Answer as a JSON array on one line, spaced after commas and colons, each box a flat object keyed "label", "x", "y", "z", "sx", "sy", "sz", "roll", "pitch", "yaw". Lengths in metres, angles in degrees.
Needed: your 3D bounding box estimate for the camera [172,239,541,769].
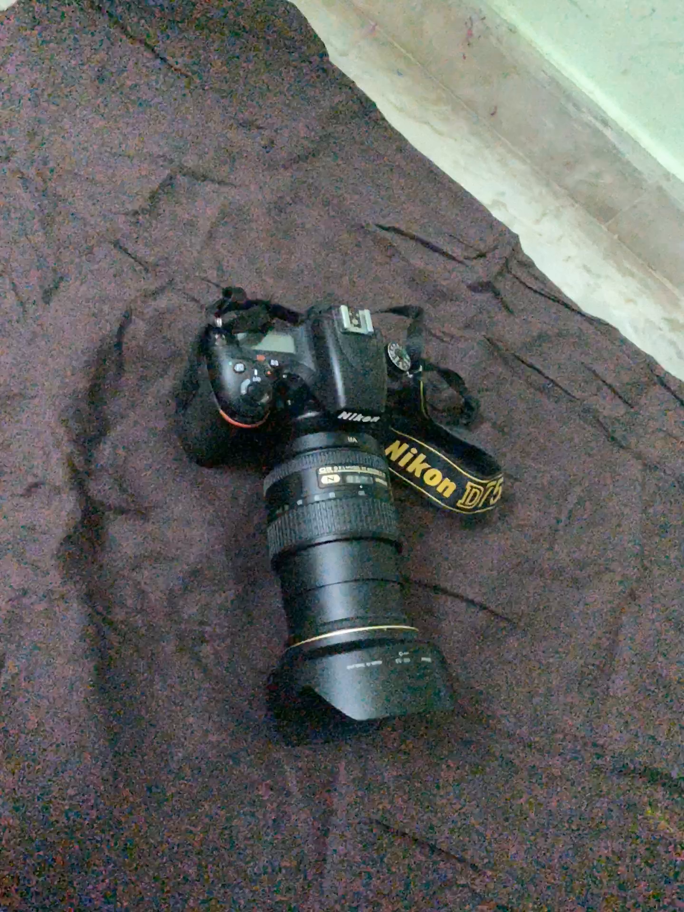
[{"label": "camera", "x": -0.005, "y": 0.027, "z": 0.432, "sx": 0.161, "sy": 0.100, "sz": 0.279, "roll": 5, "pitch": 64, "yaw": -30}]
